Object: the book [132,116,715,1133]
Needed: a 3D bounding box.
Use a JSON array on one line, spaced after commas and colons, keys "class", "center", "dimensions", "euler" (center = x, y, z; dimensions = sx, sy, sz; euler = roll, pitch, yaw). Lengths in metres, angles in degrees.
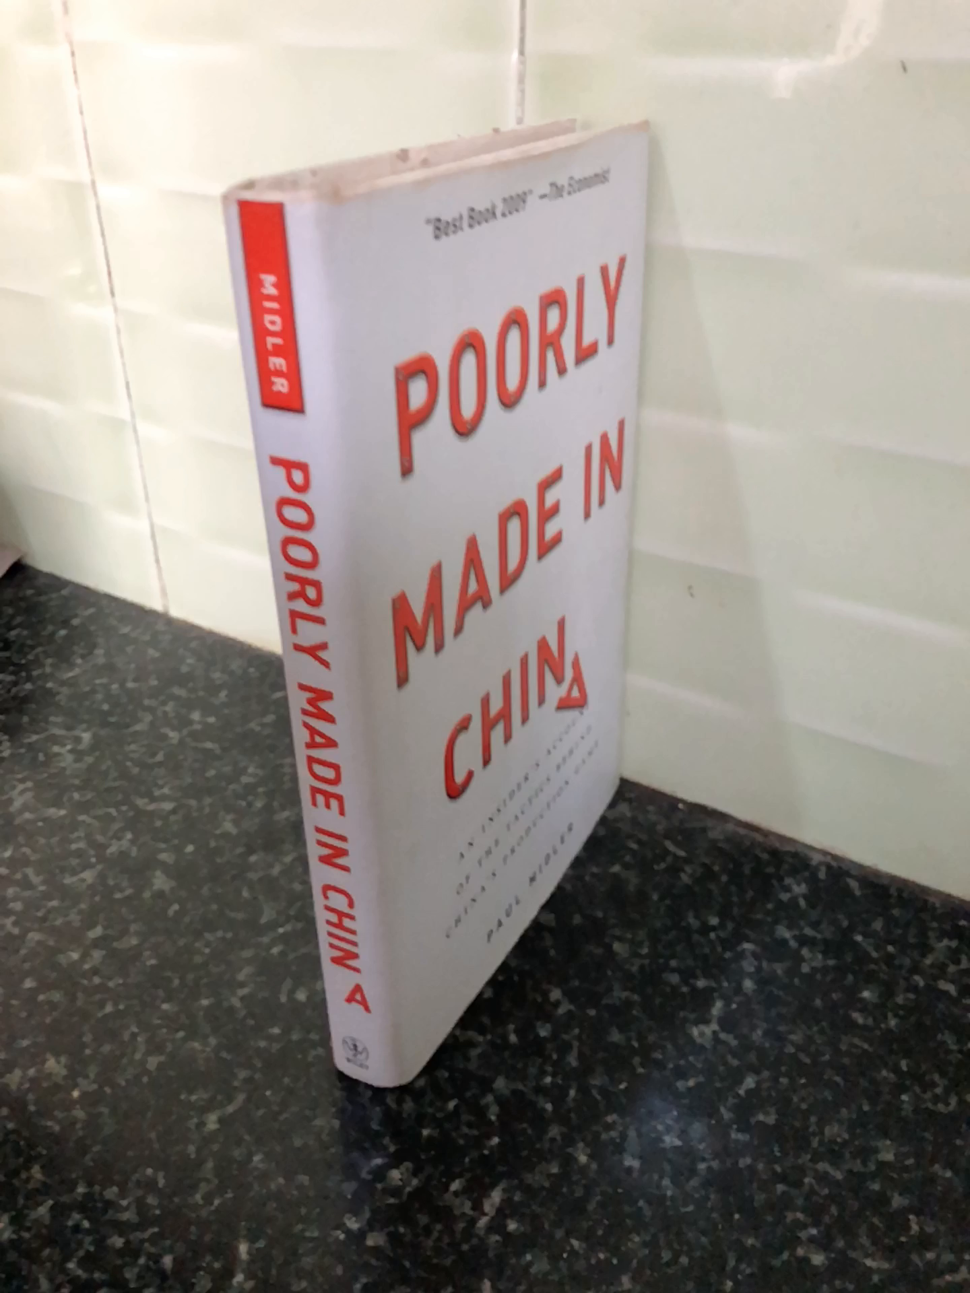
[{"class": "book", "center": [0.003, -0.018, 0.303], "dimensions": [0.040, 0.219, 0.191], "euler": [15, 34, 24]}]
